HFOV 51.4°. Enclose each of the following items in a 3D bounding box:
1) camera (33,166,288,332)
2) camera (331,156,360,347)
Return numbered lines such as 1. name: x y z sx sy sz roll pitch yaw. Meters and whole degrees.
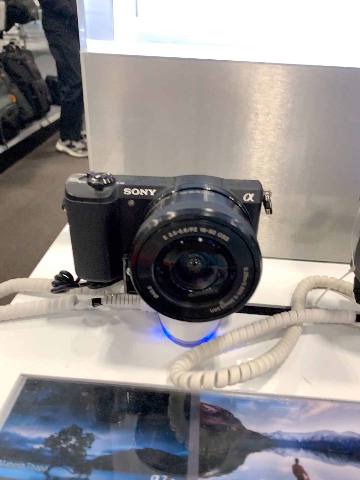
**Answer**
1. camera: -0.009 0.002 0.208 0.112 0.060 0.066 3 31 0
2. camera: 0.165 0.000 0.196 0.136 0.060 0.071 6 26 4
